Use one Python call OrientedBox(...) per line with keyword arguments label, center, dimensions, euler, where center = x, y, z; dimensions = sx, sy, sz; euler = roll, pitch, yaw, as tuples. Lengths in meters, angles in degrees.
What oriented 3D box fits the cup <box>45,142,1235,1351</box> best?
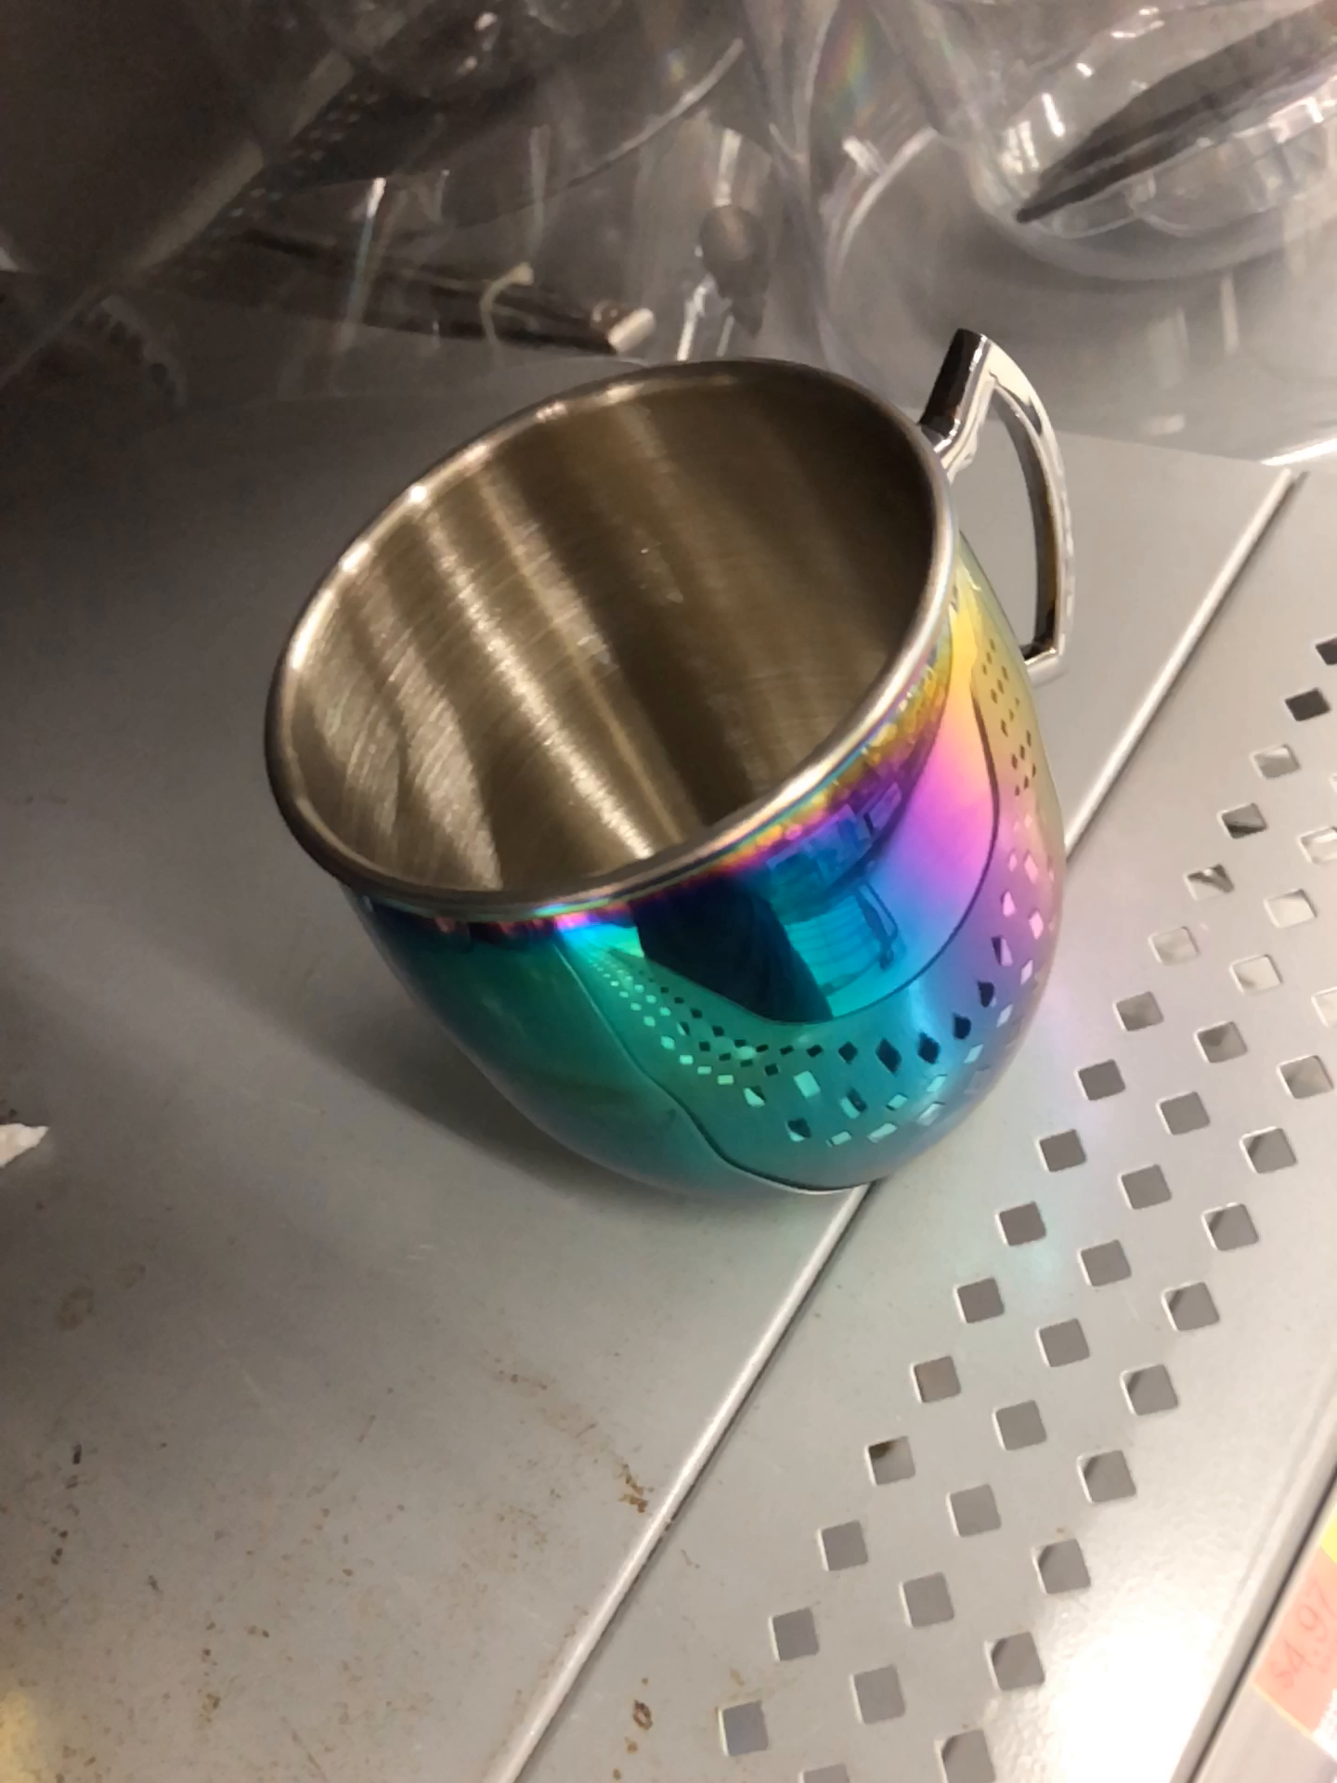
OrientedBox(label="cup", center=(0.008, -0.027, 0.232), dimensions=(0.104, 0.097, 0.133), euler=(23, 67, 33))
